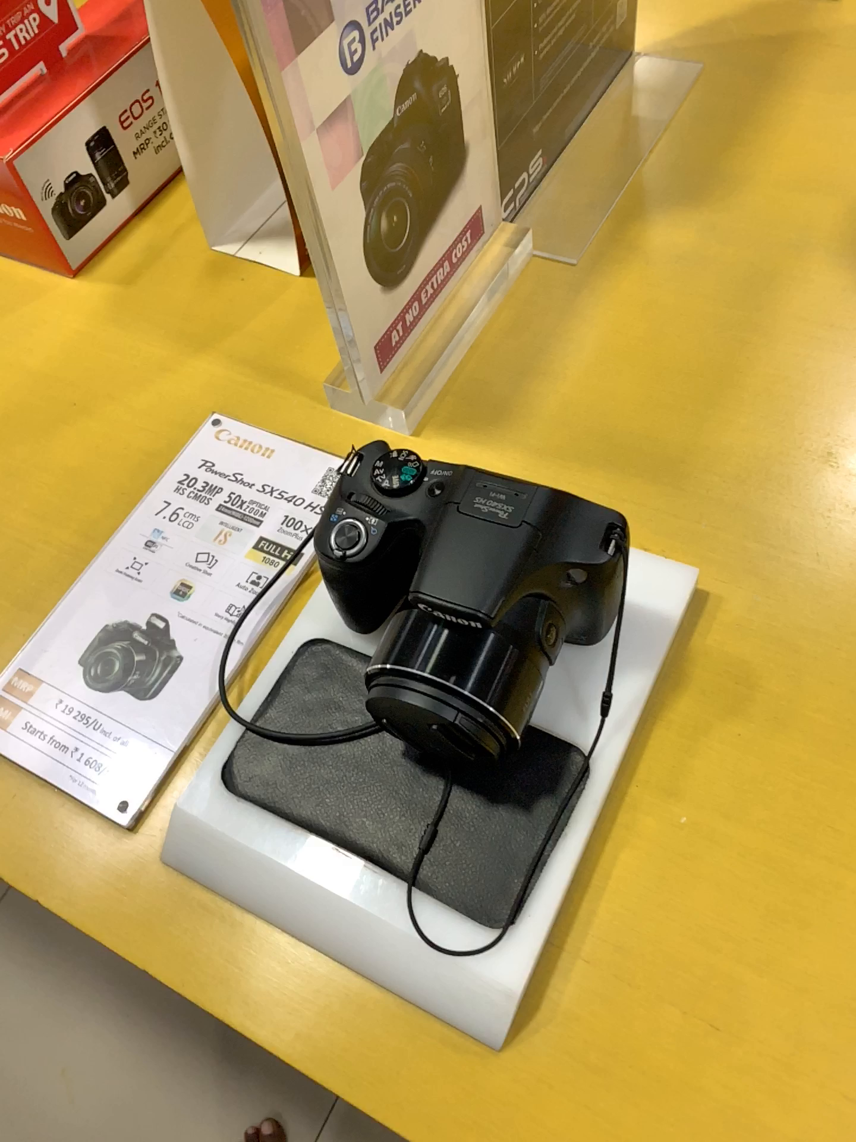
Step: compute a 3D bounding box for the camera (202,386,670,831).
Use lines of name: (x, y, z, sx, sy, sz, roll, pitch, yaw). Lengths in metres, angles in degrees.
camera: (0.008, 0.010, 0.318, 0.120, 0.070, 0.110, 18, 63, 20)
